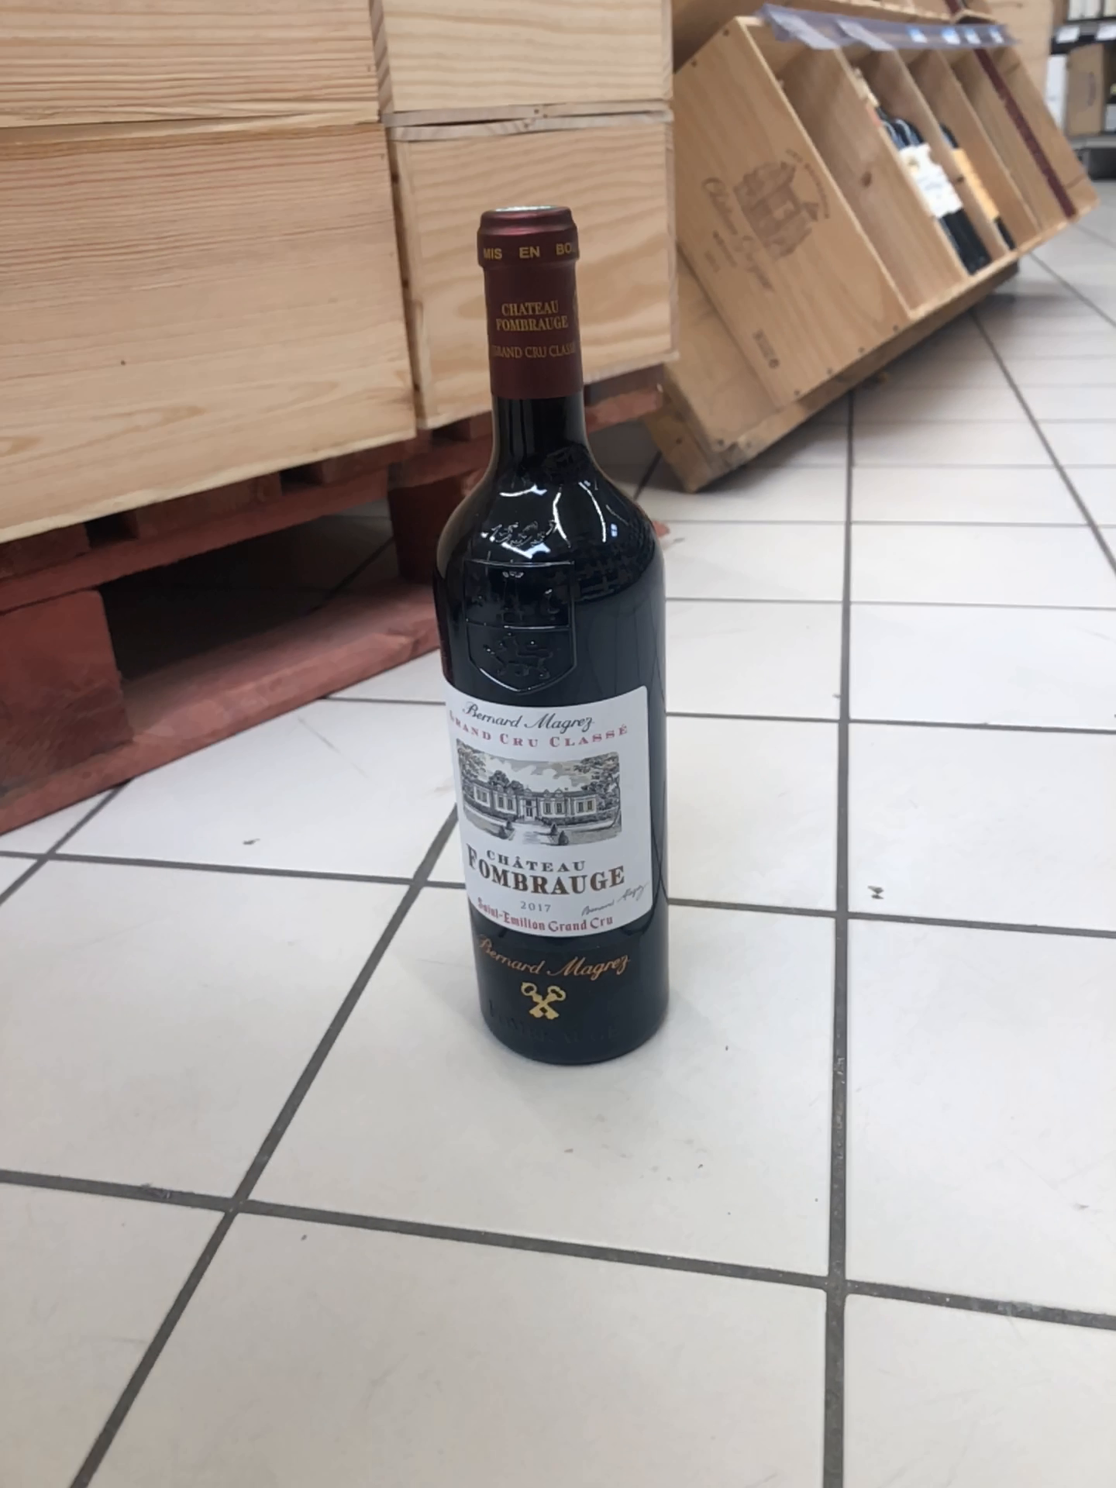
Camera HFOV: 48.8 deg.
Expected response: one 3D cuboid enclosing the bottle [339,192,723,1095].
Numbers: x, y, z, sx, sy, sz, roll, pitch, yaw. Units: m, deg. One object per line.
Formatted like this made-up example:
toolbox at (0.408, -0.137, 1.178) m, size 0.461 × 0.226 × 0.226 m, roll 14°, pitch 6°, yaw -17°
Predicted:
bottle at (0.004, -0.029, 0.425) m, size 0.090 × 0.288 × 0.091 m, roll -3°, pitch 26°, yaw 1°
